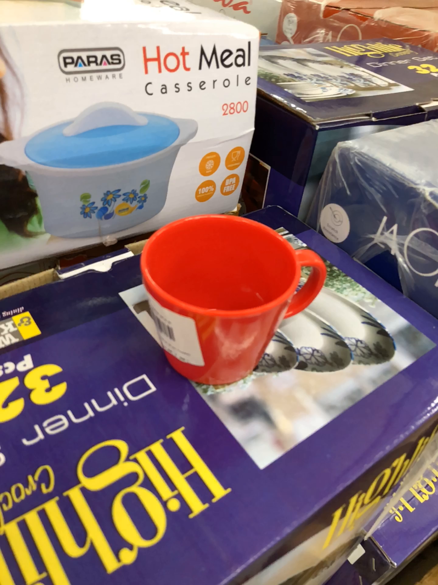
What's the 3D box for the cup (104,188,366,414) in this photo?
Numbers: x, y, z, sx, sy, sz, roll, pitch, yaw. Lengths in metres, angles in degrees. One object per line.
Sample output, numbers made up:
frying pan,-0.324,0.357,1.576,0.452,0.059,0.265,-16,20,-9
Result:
cup,0.006,-0.003,0.249,0.101,0.050,0.080,-22,48,-31
